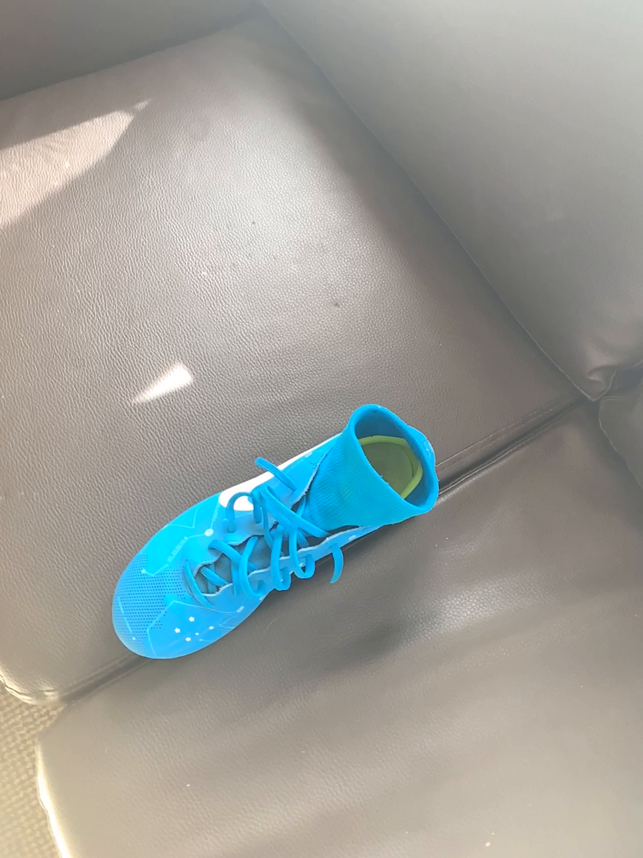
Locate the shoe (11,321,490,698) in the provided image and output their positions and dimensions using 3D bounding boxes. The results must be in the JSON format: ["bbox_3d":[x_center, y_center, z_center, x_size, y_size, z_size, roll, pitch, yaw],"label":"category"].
[{"bbox_3d":[-0.037,0.054,0.423,0.250,0.120,0.098,-29,74,-10],"label":"shoe"}]
